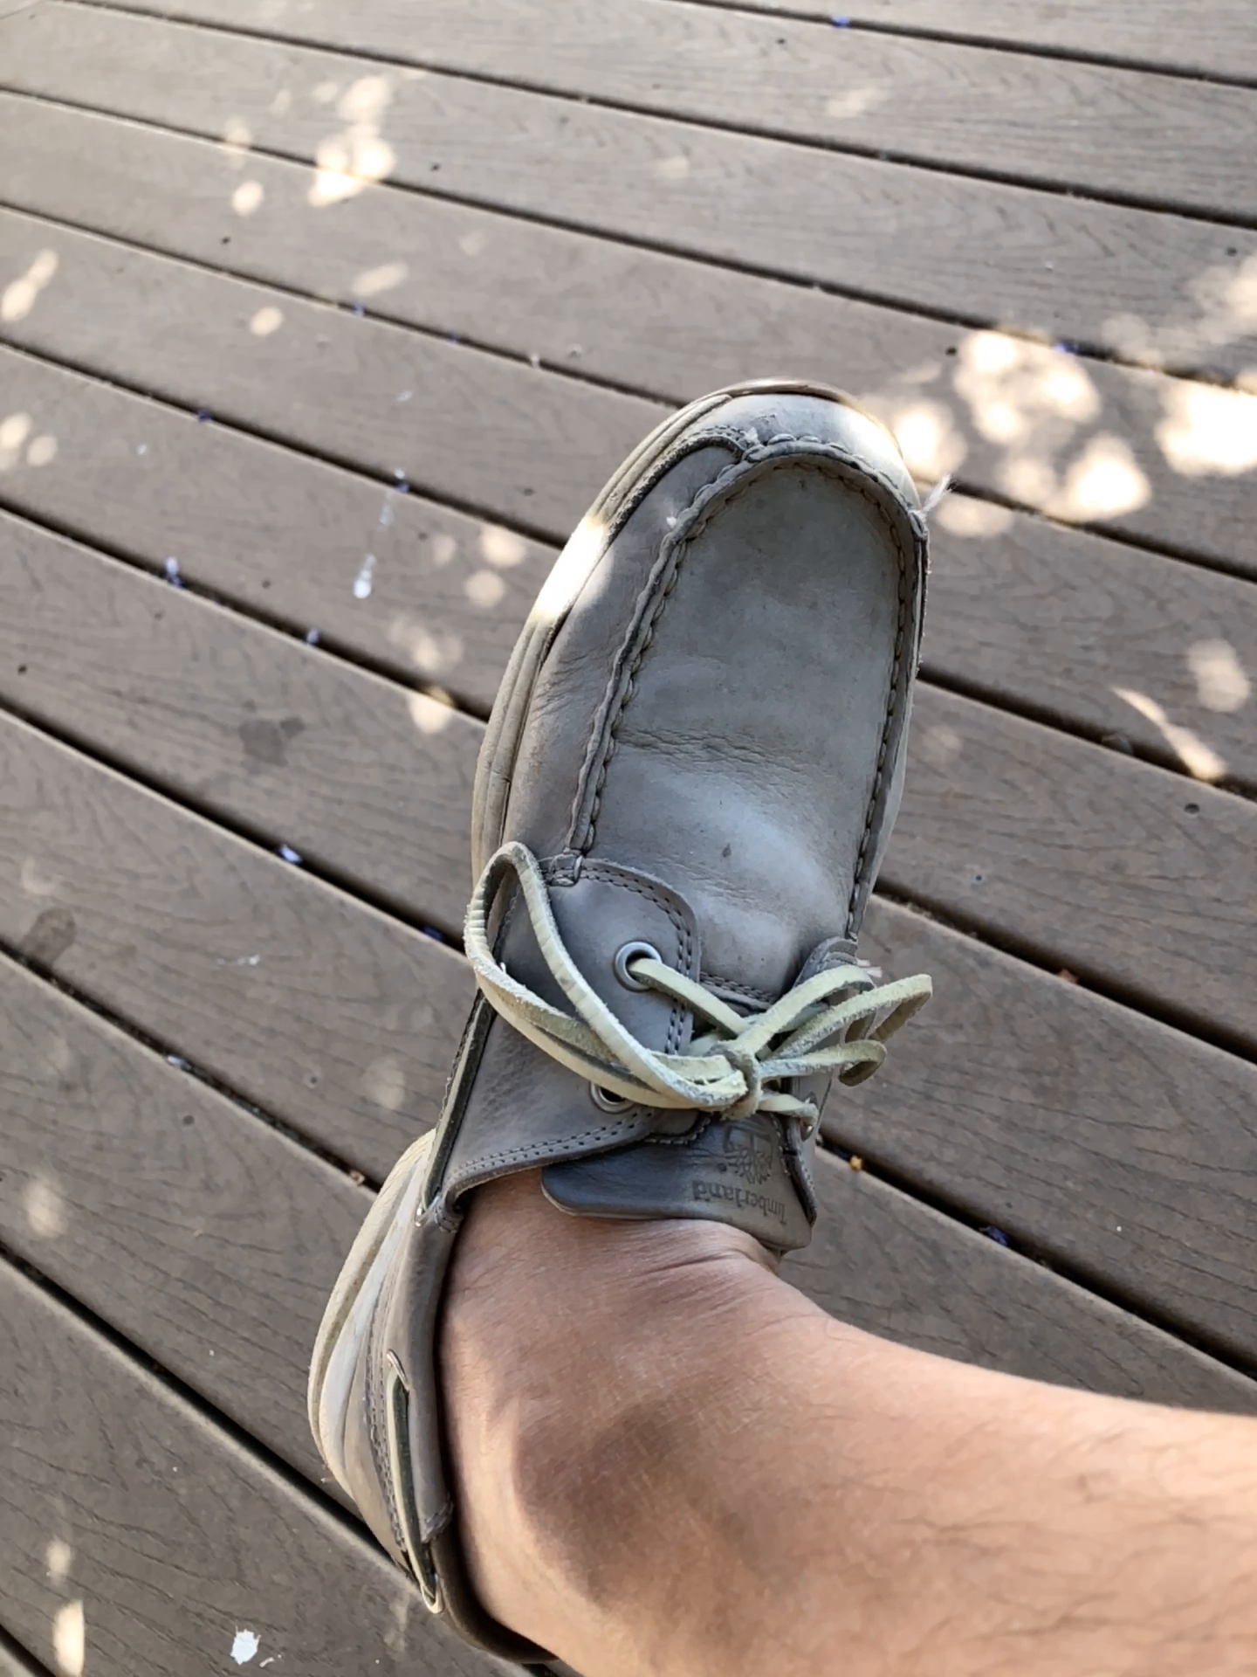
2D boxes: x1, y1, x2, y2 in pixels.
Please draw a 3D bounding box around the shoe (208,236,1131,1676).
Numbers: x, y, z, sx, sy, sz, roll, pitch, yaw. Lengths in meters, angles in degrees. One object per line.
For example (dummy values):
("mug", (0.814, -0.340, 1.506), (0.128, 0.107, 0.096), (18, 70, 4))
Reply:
("shoe", (0.009, 0.044, 0.343), (0.083, 0.116, 0.326), (16, 89, 58))
